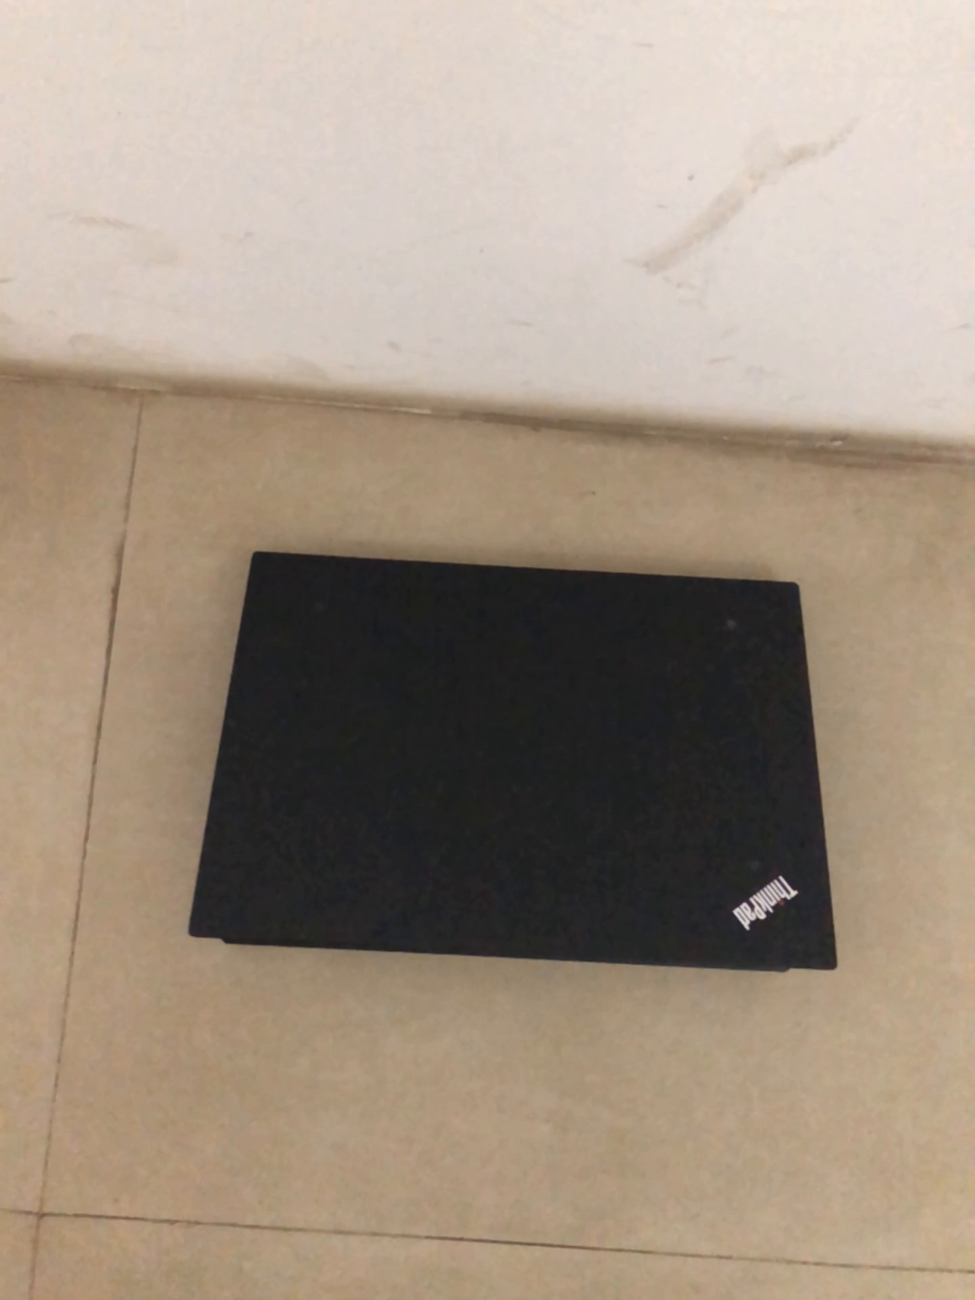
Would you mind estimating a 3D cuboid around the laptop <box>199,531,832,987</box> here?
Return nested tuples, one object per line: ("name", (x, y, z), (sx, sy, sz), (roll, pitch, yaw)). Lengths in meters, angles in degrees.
("laptop", (0.018, 0.065, 0.647), (0.349, 0.071, 0.236), (4, 85, 0))
